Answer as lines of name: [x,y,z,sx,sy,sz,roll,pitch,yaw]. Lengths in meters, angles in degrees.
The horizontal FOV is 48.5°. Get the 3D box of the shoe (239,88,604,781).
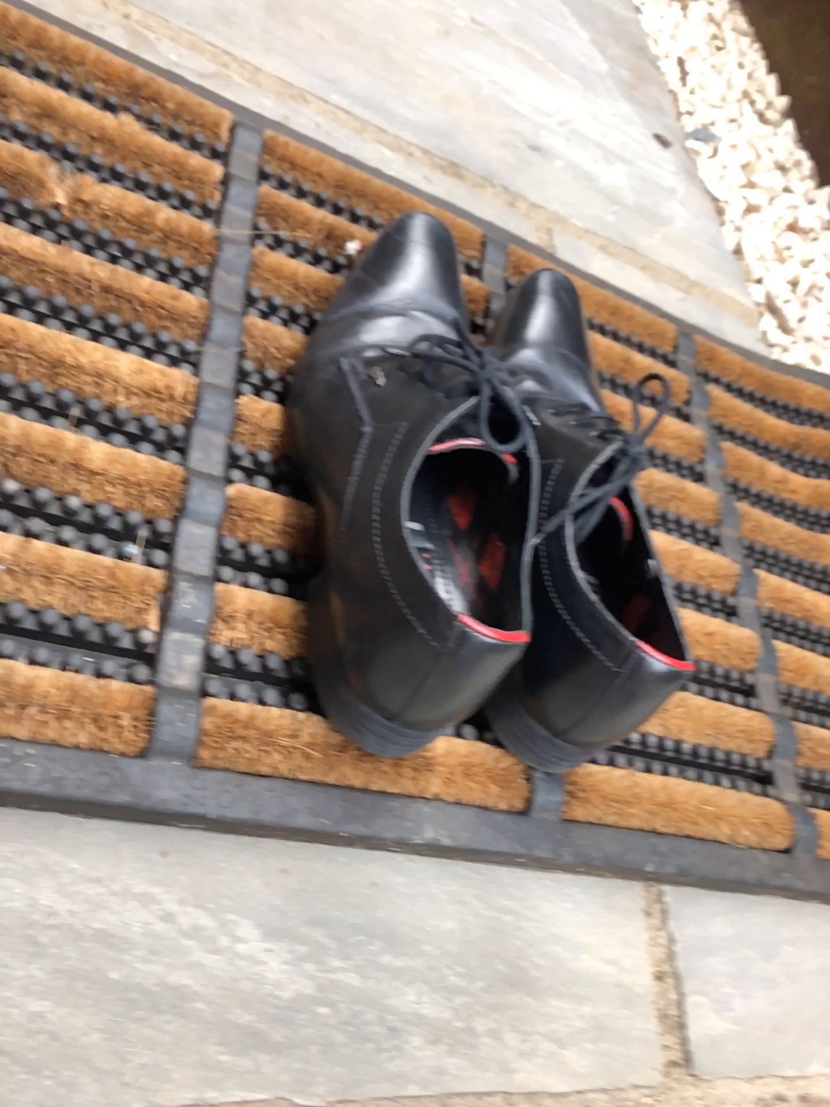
shoe: [0.000,-0.064,0.427,0.100,0.099,0.301,18,54,-26]

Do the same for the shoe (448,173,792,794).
shoe: [0.089,-0.044,0.479,0.100,0.099,0.301,18,54,-26]
